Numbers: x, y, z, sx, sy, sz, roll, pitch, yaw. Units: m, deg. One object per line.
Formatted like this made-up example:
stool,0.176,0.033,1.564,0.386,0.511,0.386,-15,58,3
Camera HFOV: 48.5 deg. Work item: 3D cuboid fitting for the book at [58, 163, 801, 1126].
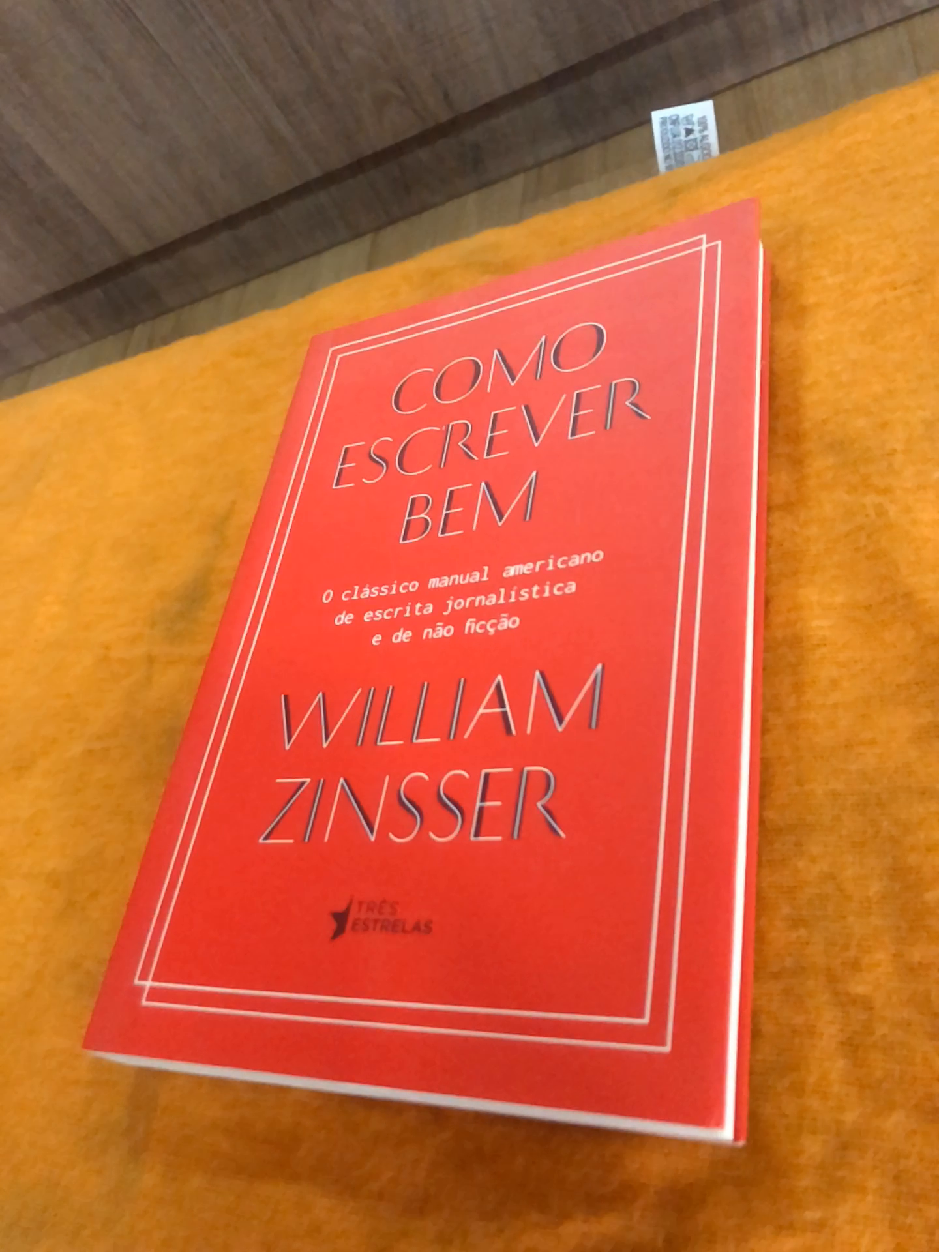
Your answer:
book,-0.002,-0.007,0.230,0.140,0.020,0.196,-8,56,30
